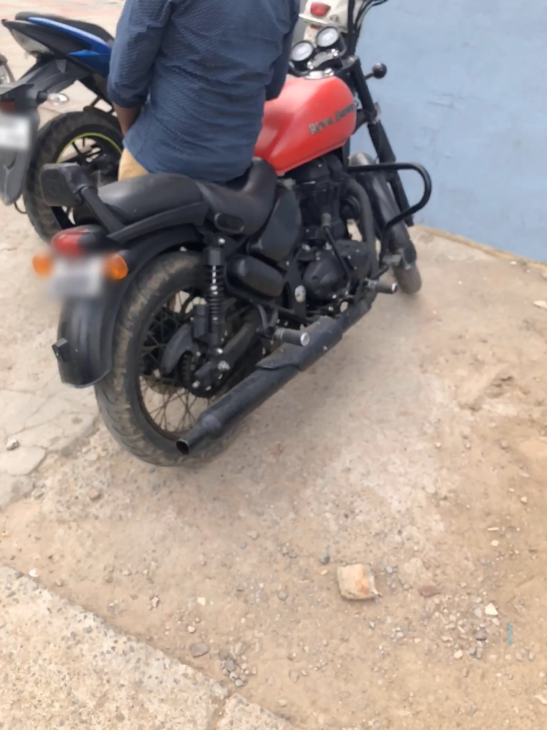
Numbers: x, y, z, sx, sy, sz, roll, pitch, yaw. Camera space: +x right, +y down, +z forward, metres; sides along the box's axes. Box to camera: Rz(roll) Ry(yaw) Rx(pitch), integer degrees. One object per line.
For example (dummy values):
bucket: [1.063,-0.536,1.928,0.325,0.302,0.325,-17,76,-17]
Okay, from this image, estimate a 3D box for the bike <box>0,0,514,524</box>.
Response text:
bike: [-0.105,-0.684,1.857,0.776,1.245,1.549,26,45,18]
